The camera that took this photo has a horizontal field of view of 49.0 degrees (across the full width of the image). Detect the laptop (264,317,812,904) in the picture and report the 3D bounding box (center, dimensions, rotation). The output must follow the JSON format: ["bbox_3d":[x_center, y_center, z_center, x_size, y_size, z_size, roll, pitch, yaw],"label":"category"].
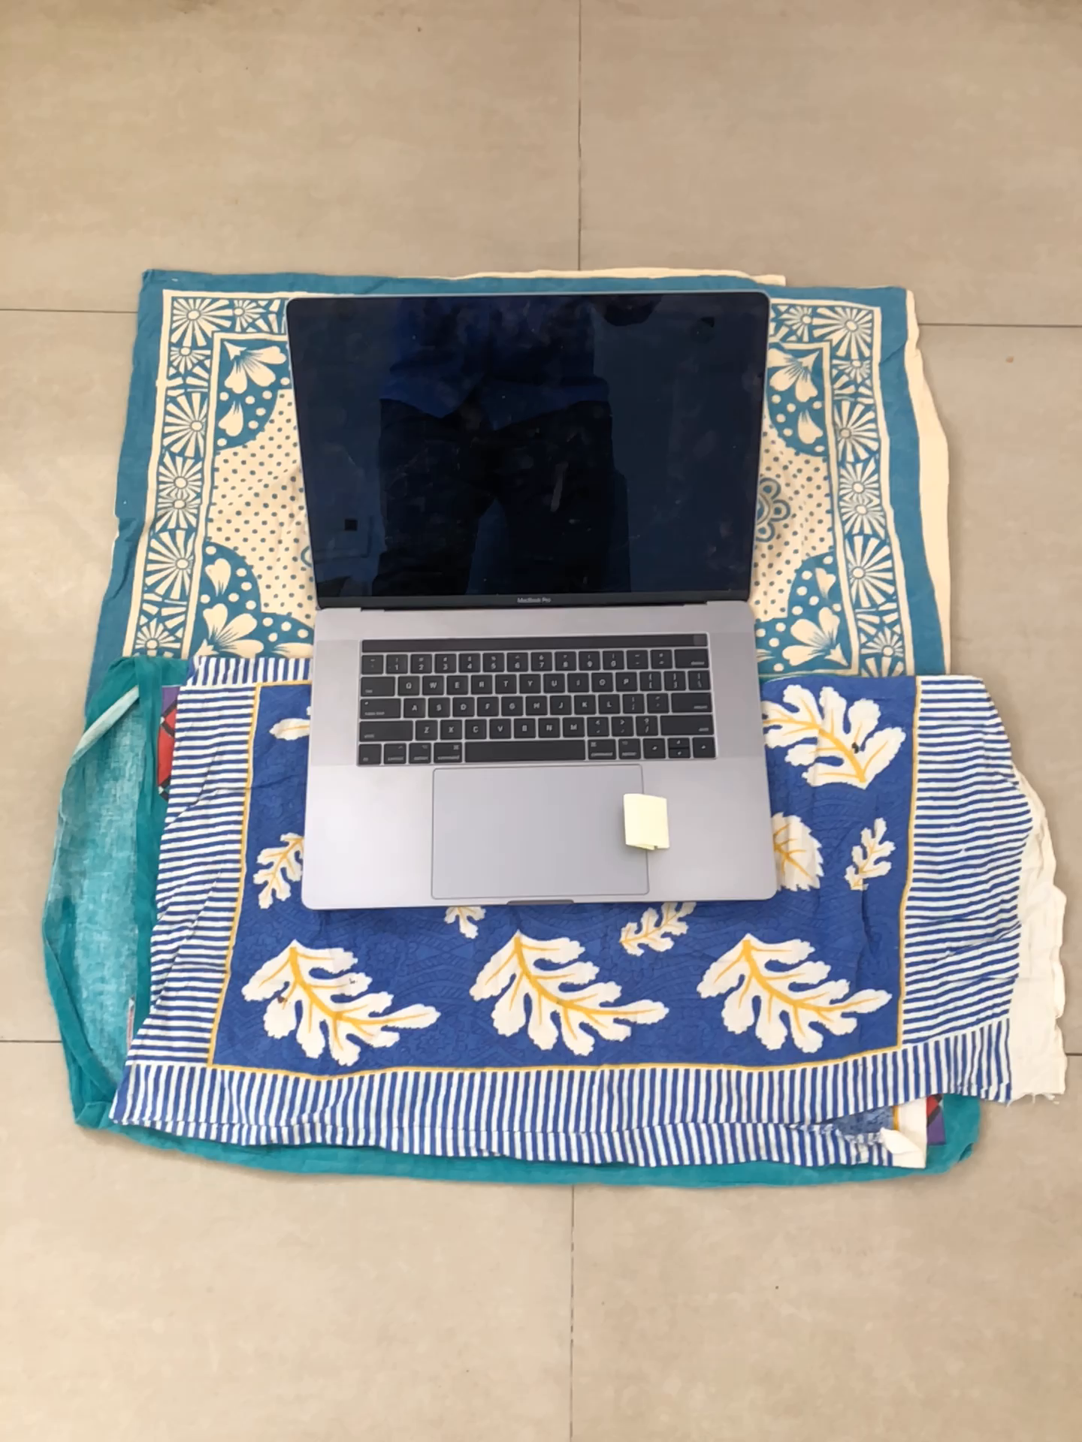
[{"bbox_3d":[-0.006,-0.080,0.852,0.336,0.132,0.402,-1,73,-1],"label":"laptop"}]
